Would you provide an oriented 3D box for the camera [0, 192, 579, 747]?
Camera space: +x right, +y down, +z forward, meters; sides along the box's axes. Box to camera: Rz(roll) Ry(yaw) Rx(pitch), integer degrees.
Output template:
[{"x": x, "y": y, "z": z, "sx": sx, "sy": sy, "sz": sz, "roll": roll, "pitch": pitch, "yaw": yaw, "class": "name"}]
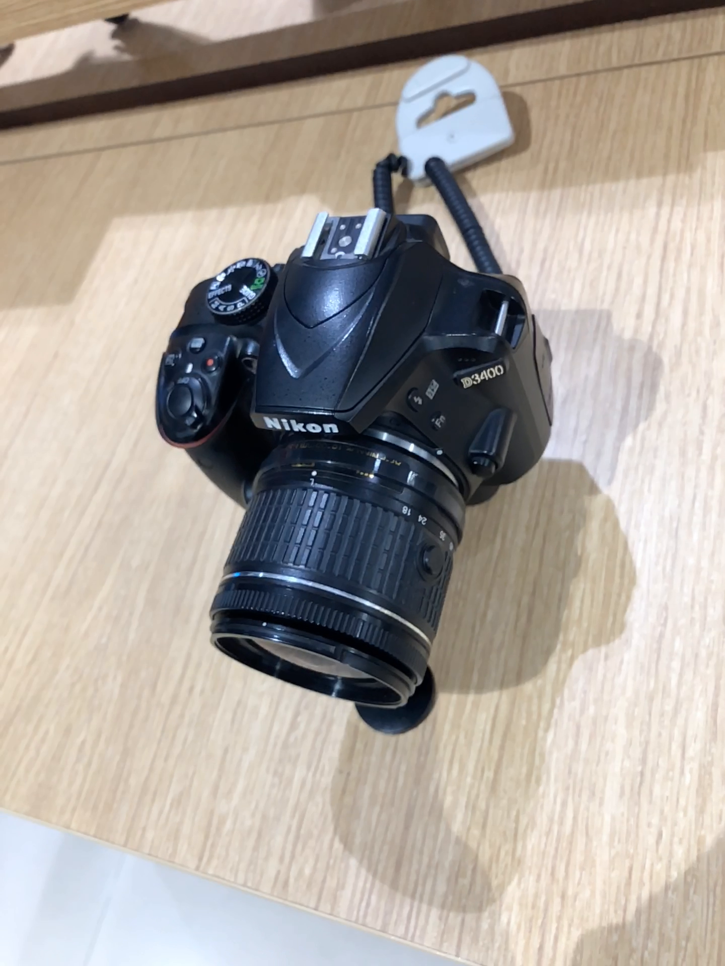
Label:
[{"x": -0.017, "y": -0.005, "z": 0.243, "sx": 0.133, "sy": 0.084, "sz": 0.120, "roll": 4, "pitch": 63, "yaw": 26, "class": "camera"}]
